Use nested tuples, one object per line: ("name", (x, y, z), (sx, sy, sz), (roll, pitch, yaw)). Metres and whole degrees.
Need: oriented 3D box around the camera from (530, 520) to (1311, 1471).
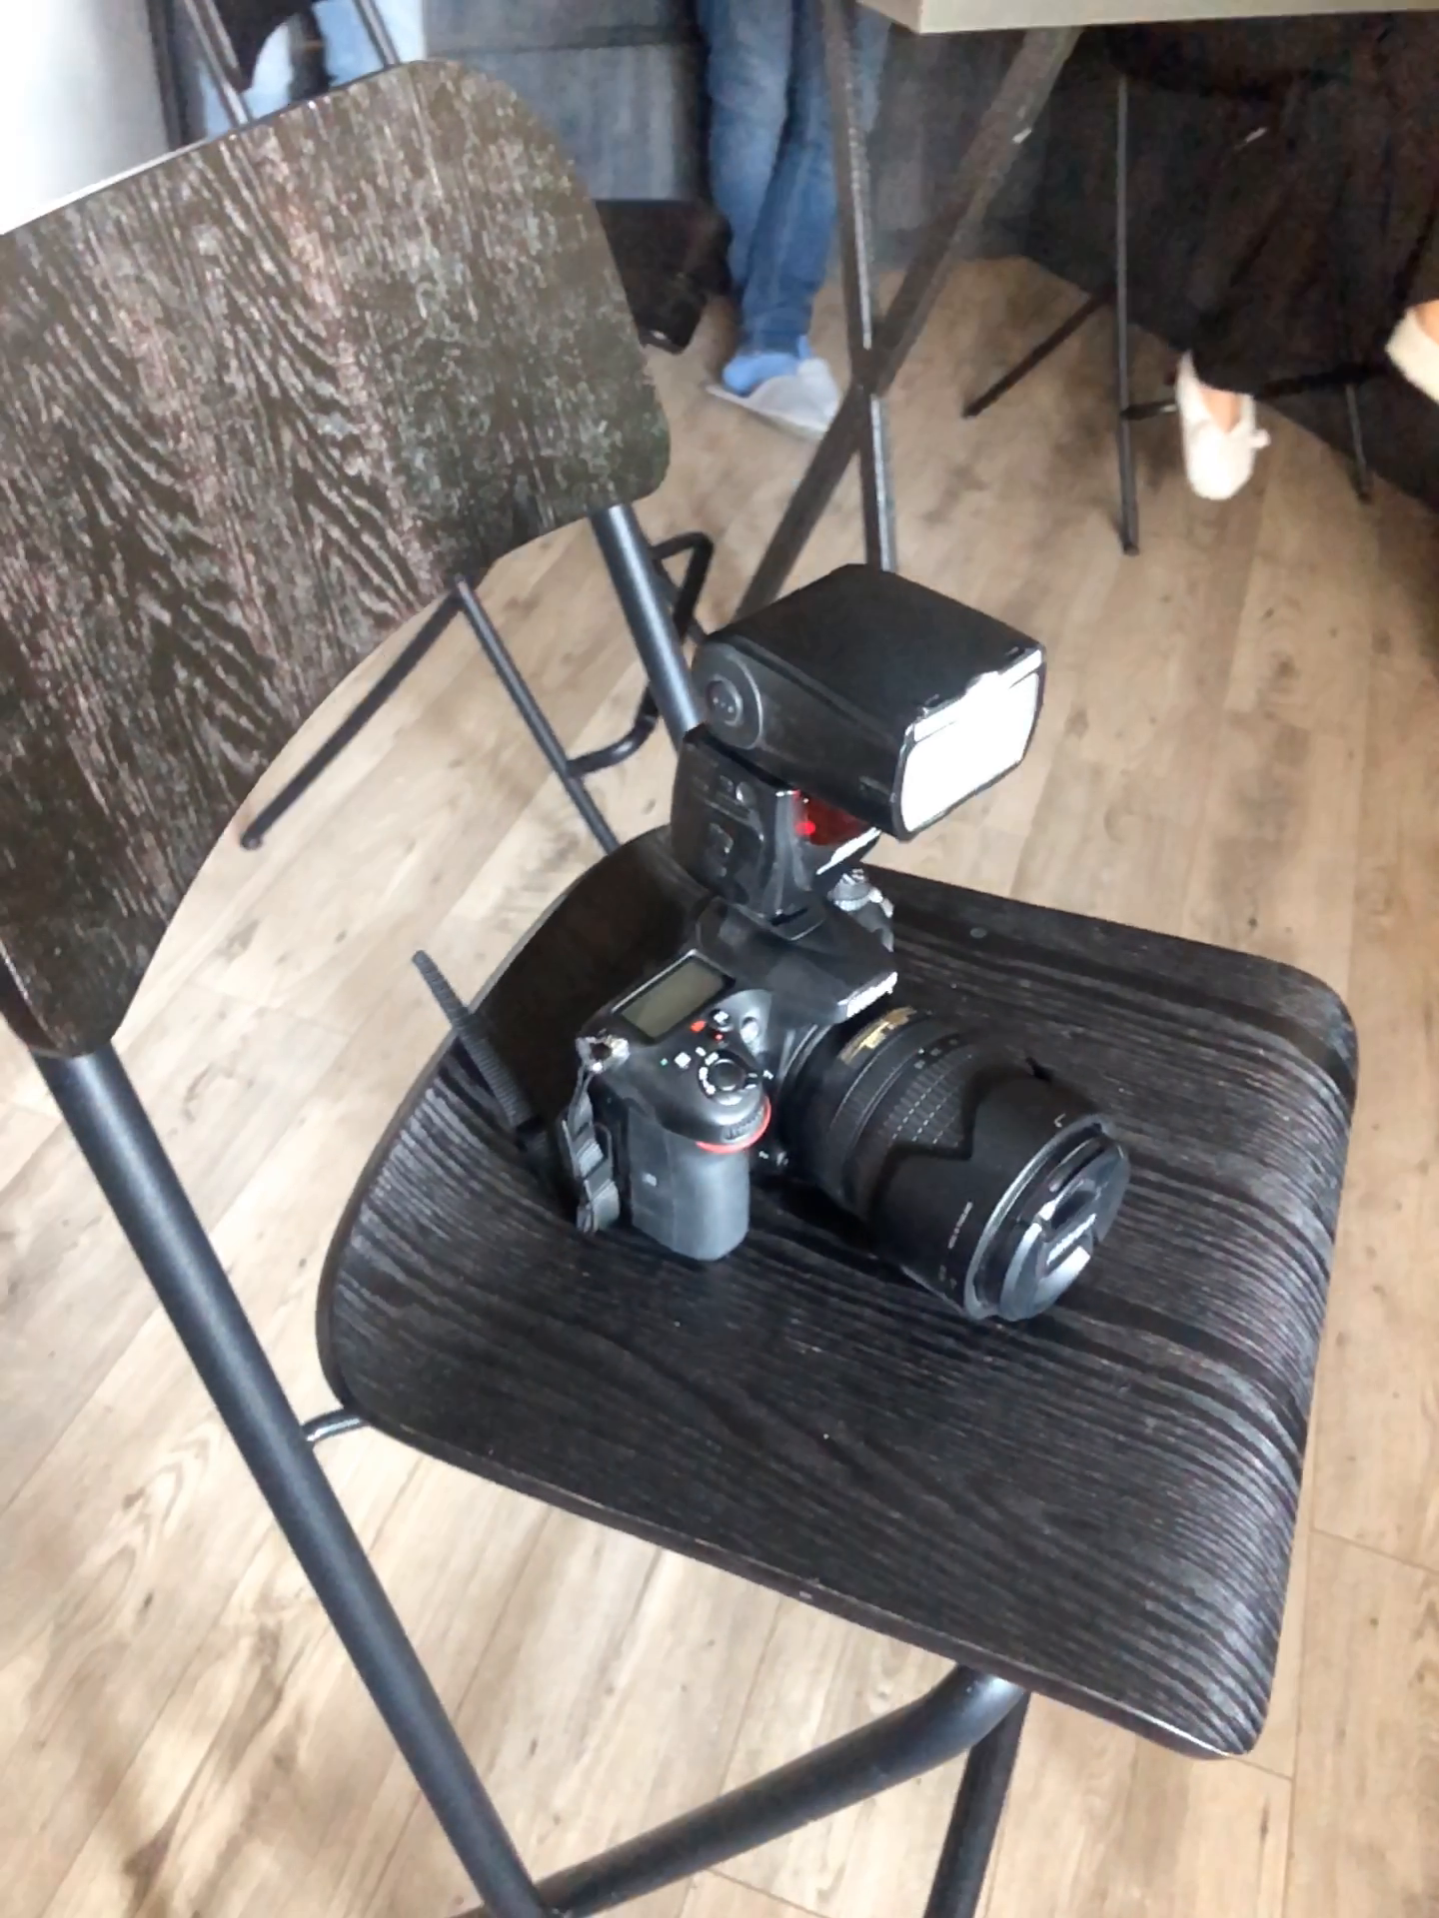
("camera", (0.049, 0.013, 0.501), (0.167, 0.217, 0.125), (35, 54, 28))
